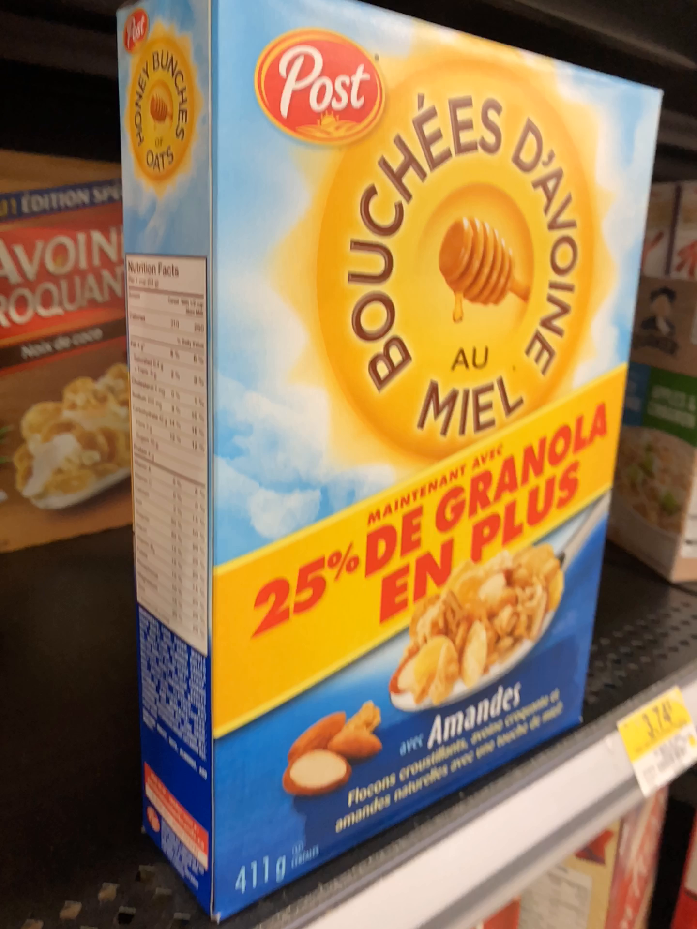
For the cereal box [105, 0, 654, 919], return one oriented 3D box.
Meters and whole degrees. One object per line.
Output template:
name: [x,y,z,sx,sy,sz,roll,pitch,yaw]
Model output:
cereal box: [0.018,-0.006,0.293,0.190,0.269,0.060,-8,17,-36]
